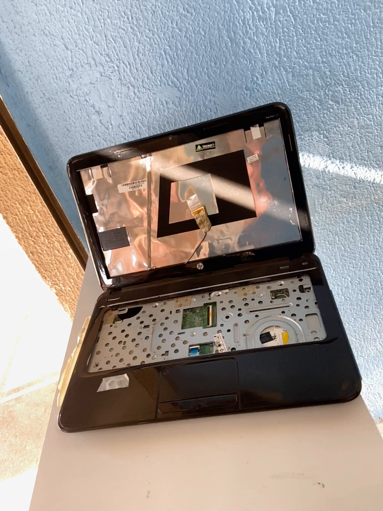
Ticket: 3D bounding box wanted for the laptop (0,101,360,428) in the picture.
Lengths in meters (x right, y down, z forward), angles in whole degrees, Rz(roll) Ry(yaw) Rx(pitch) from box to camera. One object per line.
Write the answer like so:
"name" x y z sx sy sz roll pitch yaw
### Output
"laptop" -0.014 -0.007 0.497 0.335 0.186 0.326 -12 35 12
